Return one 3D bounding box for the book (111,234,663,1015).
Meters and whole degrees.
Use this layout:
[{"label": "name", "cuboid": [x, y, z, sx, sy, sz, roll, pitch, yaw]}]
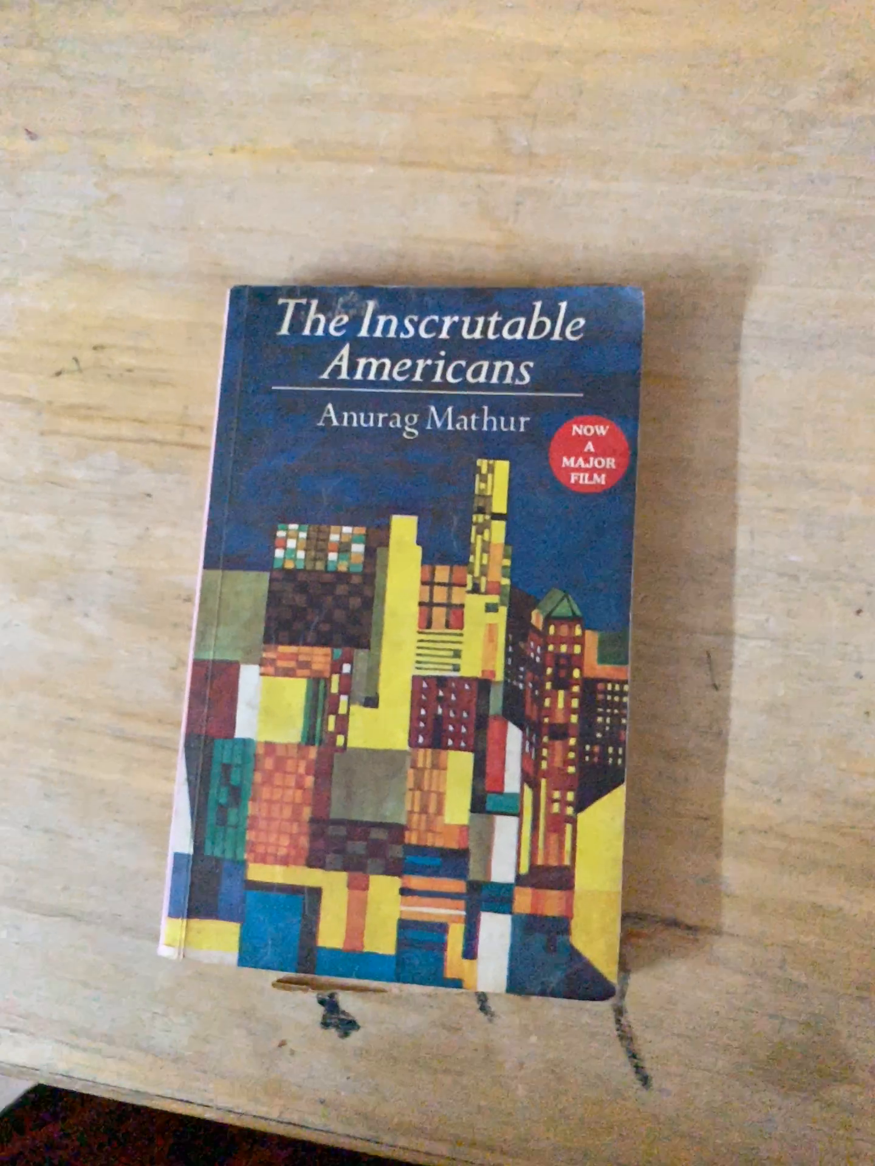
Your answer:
[{"label": "book", "cuboid": [-0.009, 0.004, 0.232, 0.120, 0.030, 0.180, 3, 82, 6]}]
